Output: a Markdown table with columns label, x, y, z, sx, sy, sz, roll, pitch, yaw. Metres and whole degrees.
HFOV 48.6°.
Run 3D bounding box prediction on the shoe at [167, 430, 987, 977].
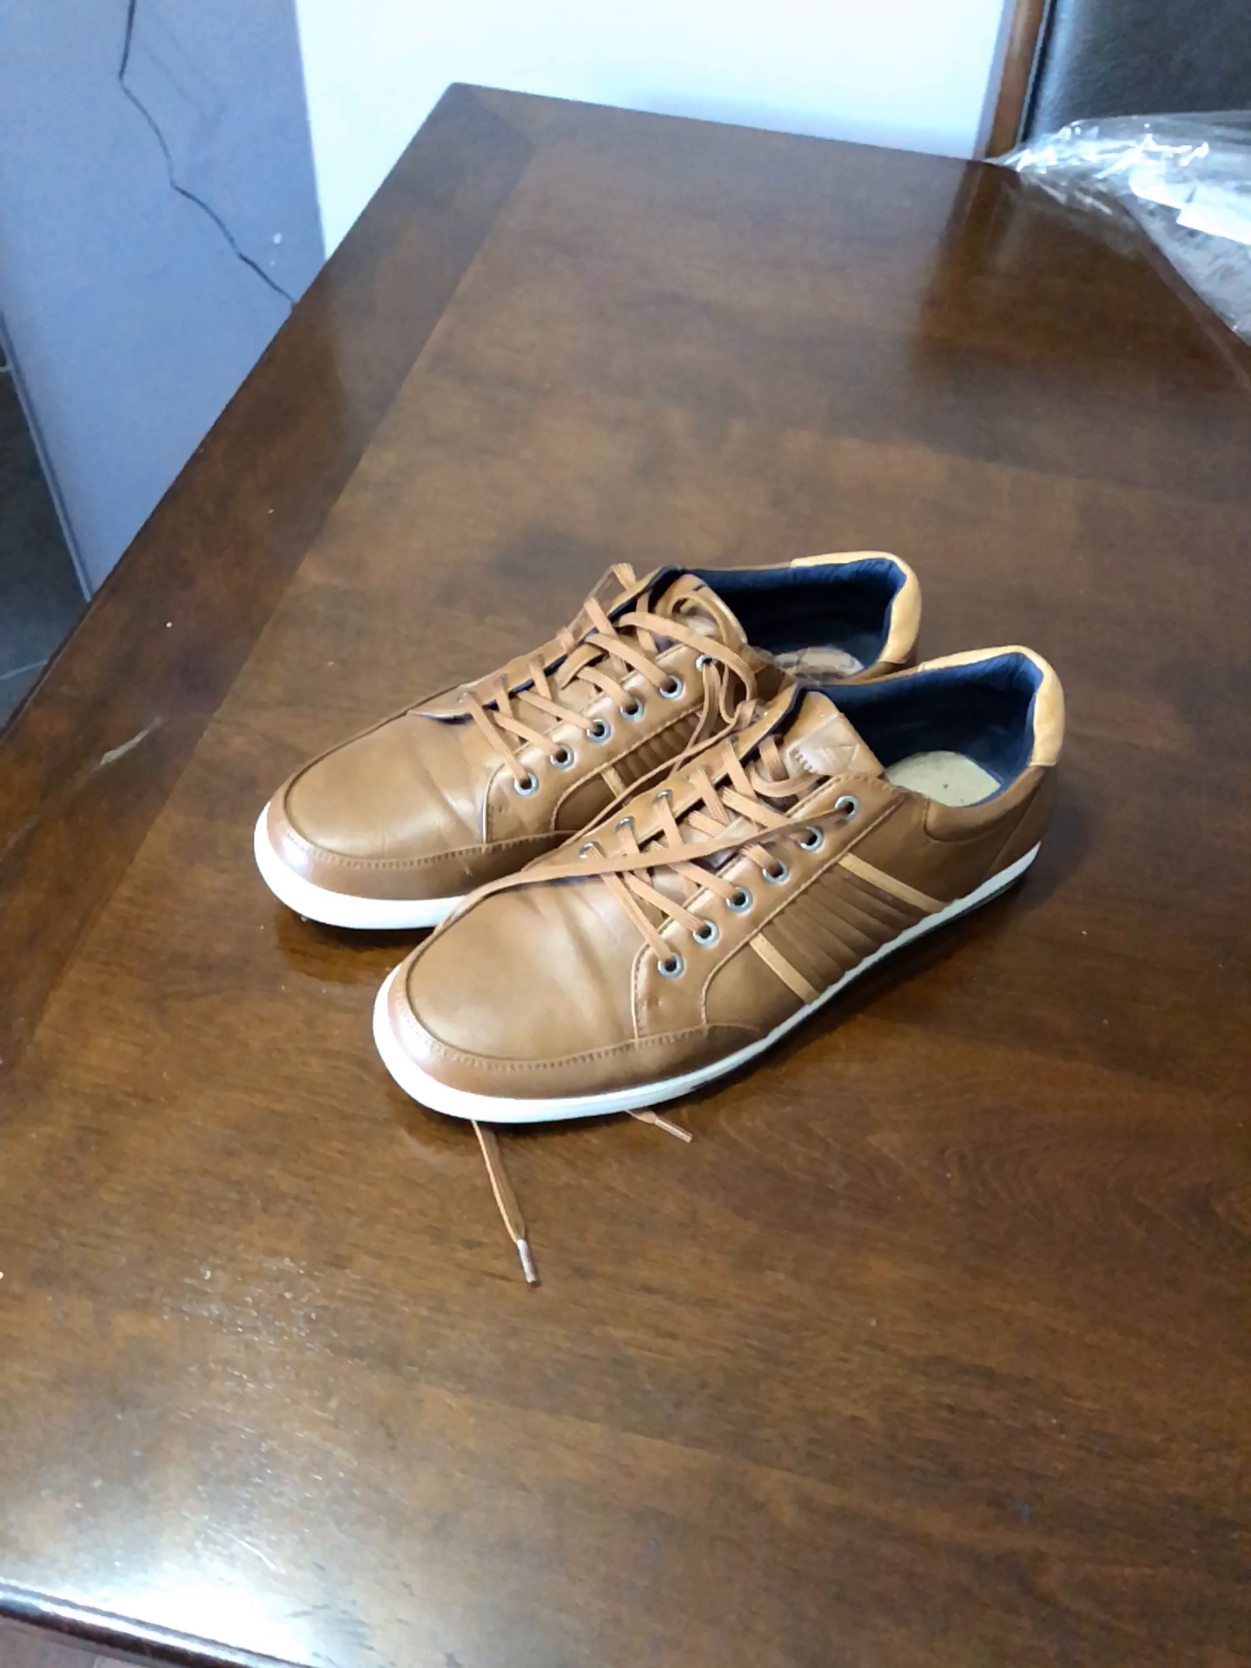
| label | x | y | z | sx | sy | sz | roll | pitch | yaw |
| --- | --- | --- | --- | --- | --- | --- | --- | --- | --- |
| shoe | -0.015 | -0.061 | 0.551 | 0.290 | 0.080 | 0.110 | -21 | 55 | -20 |

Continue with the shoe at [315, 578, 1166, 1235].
| label | x | y | z | sx | sy | sz | roll | pitch | yaw |
| --- | --- | --- | --- | --- | --- | --- | --- | --- | --- |
| shoe | 0.047 | 0.015 | 0.516 | 0.290 | 0.080 | 0.110 | -25 | 57 | -22 |
